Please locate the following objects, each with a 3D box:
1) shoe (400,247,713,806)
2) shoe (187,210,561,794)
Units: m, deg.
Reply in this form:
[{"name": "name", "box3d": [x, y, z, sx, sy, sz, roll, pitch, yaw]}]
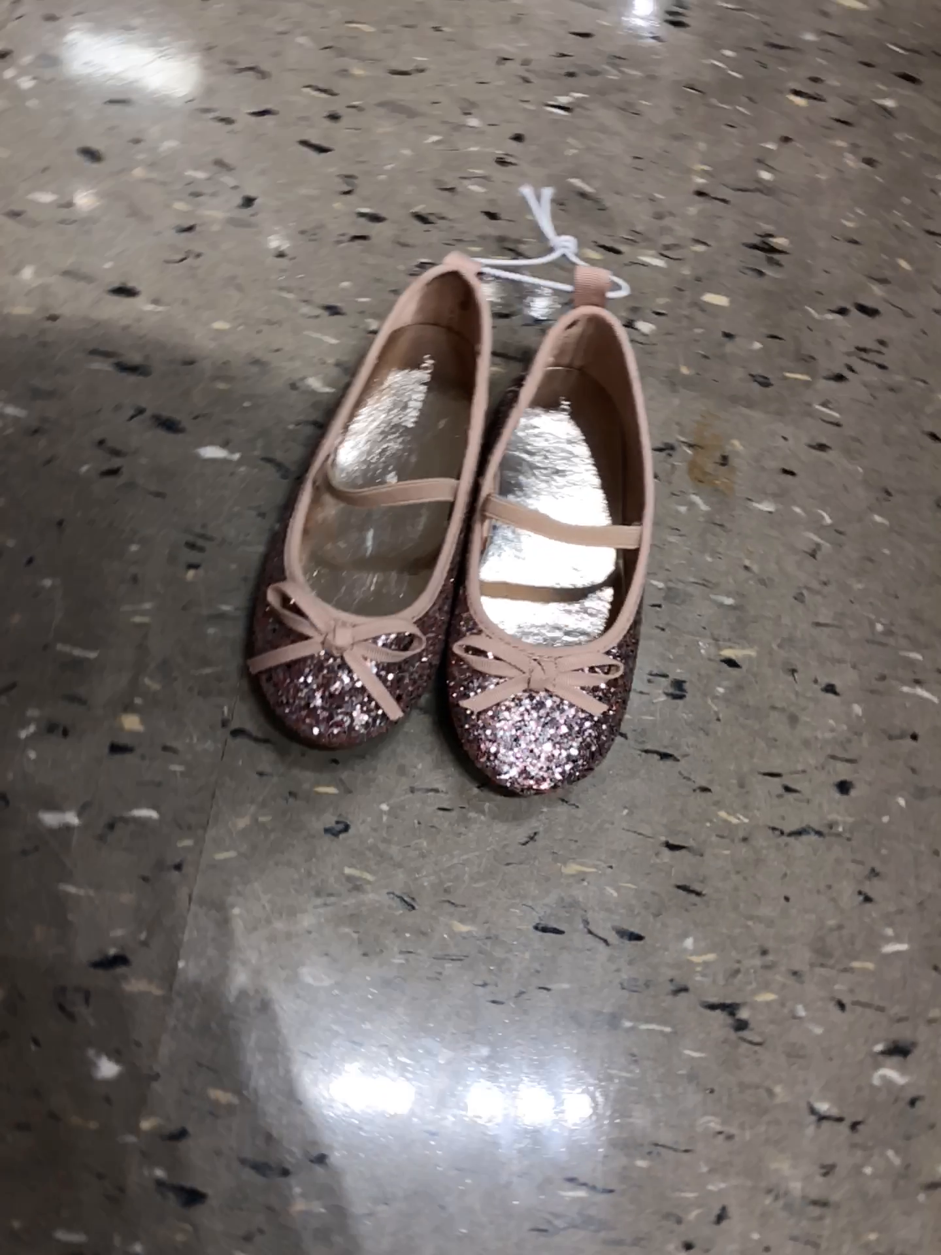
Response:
[{"name": "shoe", "box3d": [0.029, -0.031, 0.347, 0.070, 0.070, 0.160, 12, 69, -7]}, {"name": "shoe", "box3d": [-0.029, -0.038, 0.336, 0.070, 0.070, 0.160, 16, 69, -5]}]
